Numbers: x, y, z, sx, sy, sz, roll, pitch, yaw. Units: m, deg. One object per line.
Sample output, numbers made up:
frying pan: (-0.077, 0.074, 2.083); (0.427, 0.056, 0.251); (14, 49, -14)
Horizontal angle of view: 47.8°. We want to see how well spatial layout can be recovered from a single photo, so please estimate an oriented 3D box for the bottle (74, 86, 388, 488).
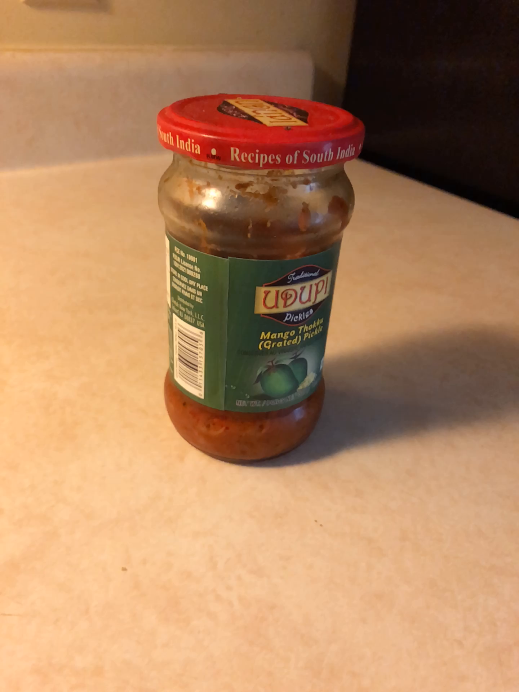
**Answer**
bottle: (-0.017, -0.027, 0.221); (0.080, 0.120, 0.080); (3, 31, -2)
